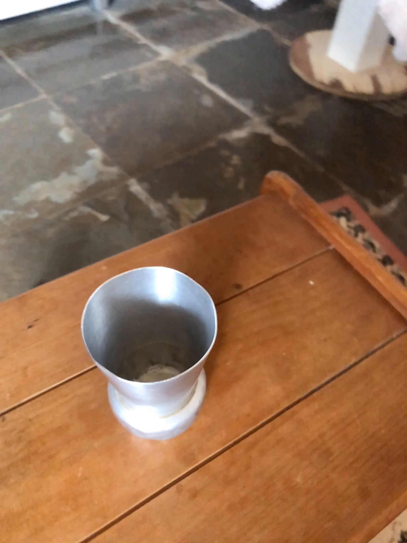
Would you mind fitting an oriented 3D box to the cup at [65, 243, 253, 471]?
[{"bbox_3d":[-0.027,0.055,0.277,0.070,0.109,0.070,2,52,-3],"label":"cup"}]
